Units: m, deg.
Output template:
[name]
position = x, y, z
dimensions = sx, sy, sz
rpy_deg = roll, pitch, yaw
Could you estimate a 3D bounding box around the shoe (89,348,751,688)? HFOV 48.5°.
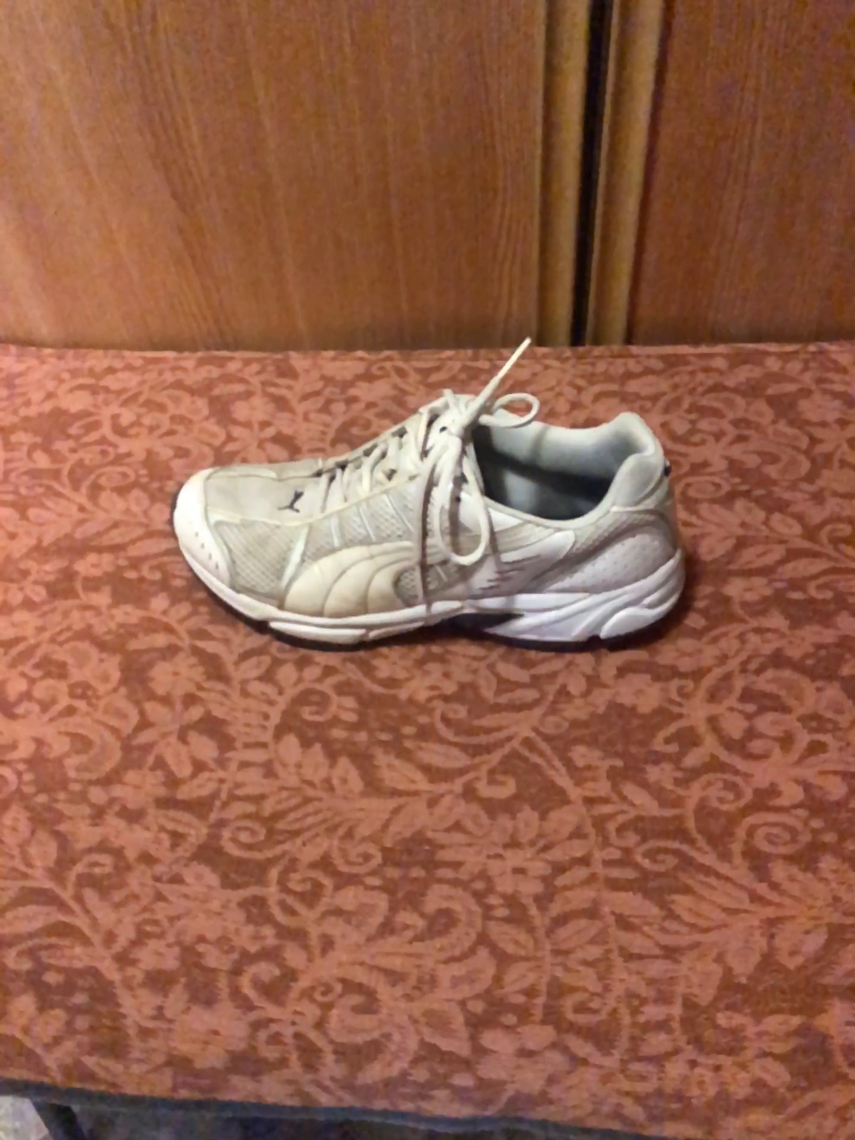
[shoe]
position = 0.001, -0.031, 0.486
dimensions = 0.290, 0.100, 0.120
rpy_deg = 4, 48, 9
